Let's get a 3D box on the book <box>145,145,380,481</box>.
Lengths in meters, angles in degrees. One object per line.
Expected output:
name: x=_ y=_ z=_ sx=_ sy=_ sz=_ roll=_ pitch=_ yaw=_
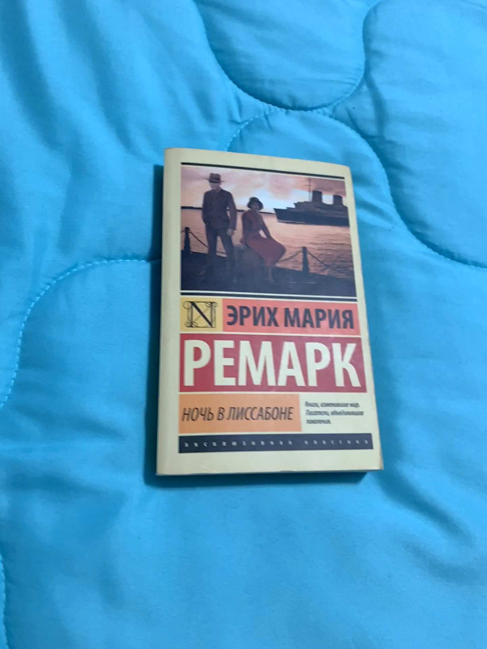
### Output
book: x=0.008 y=-0.009 z=0.267 sx=0.112 sy=0.020 sz=0.172 roll=2 pitch=73 yaw=-12
